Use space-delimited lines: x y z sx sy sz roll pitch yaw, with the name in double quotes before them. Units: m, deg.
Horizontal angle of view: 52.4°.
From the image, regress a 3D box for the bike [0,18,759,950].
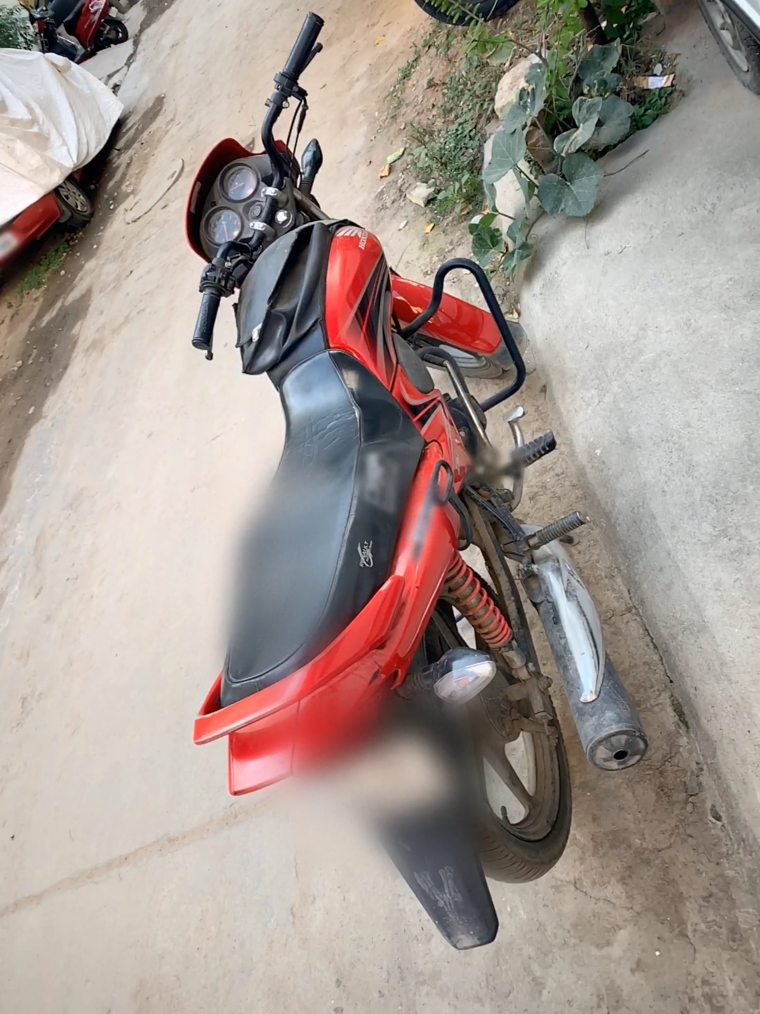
"bike" -0.039 -0.133 1.682 0.760 1.090 1.715 -34 40 19
